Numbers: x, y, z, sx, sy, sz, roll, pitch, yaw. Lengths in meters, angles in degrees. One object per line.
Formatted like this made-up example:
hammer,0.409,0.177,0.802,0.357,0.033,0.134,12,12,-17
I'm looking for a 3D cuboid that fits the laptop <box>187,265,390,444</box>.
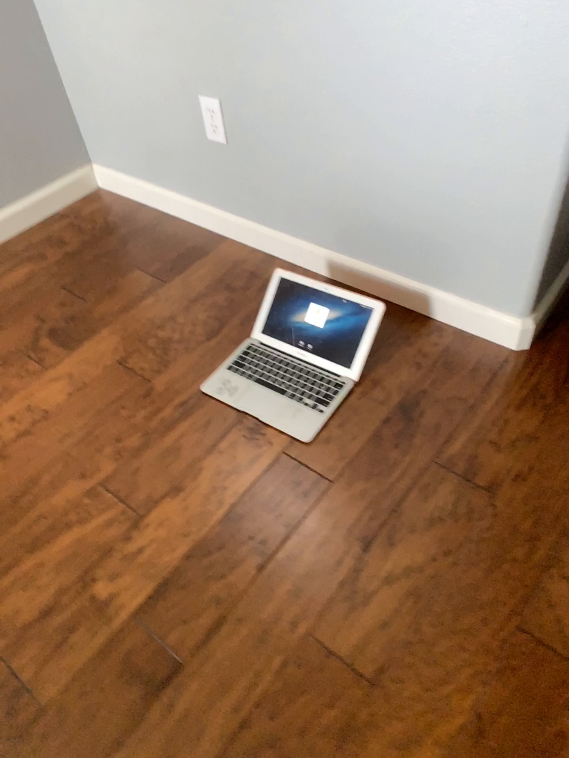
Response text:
laptop,0.016,-0.070,1.239,0.293,0.117,0.323,24,56,29
